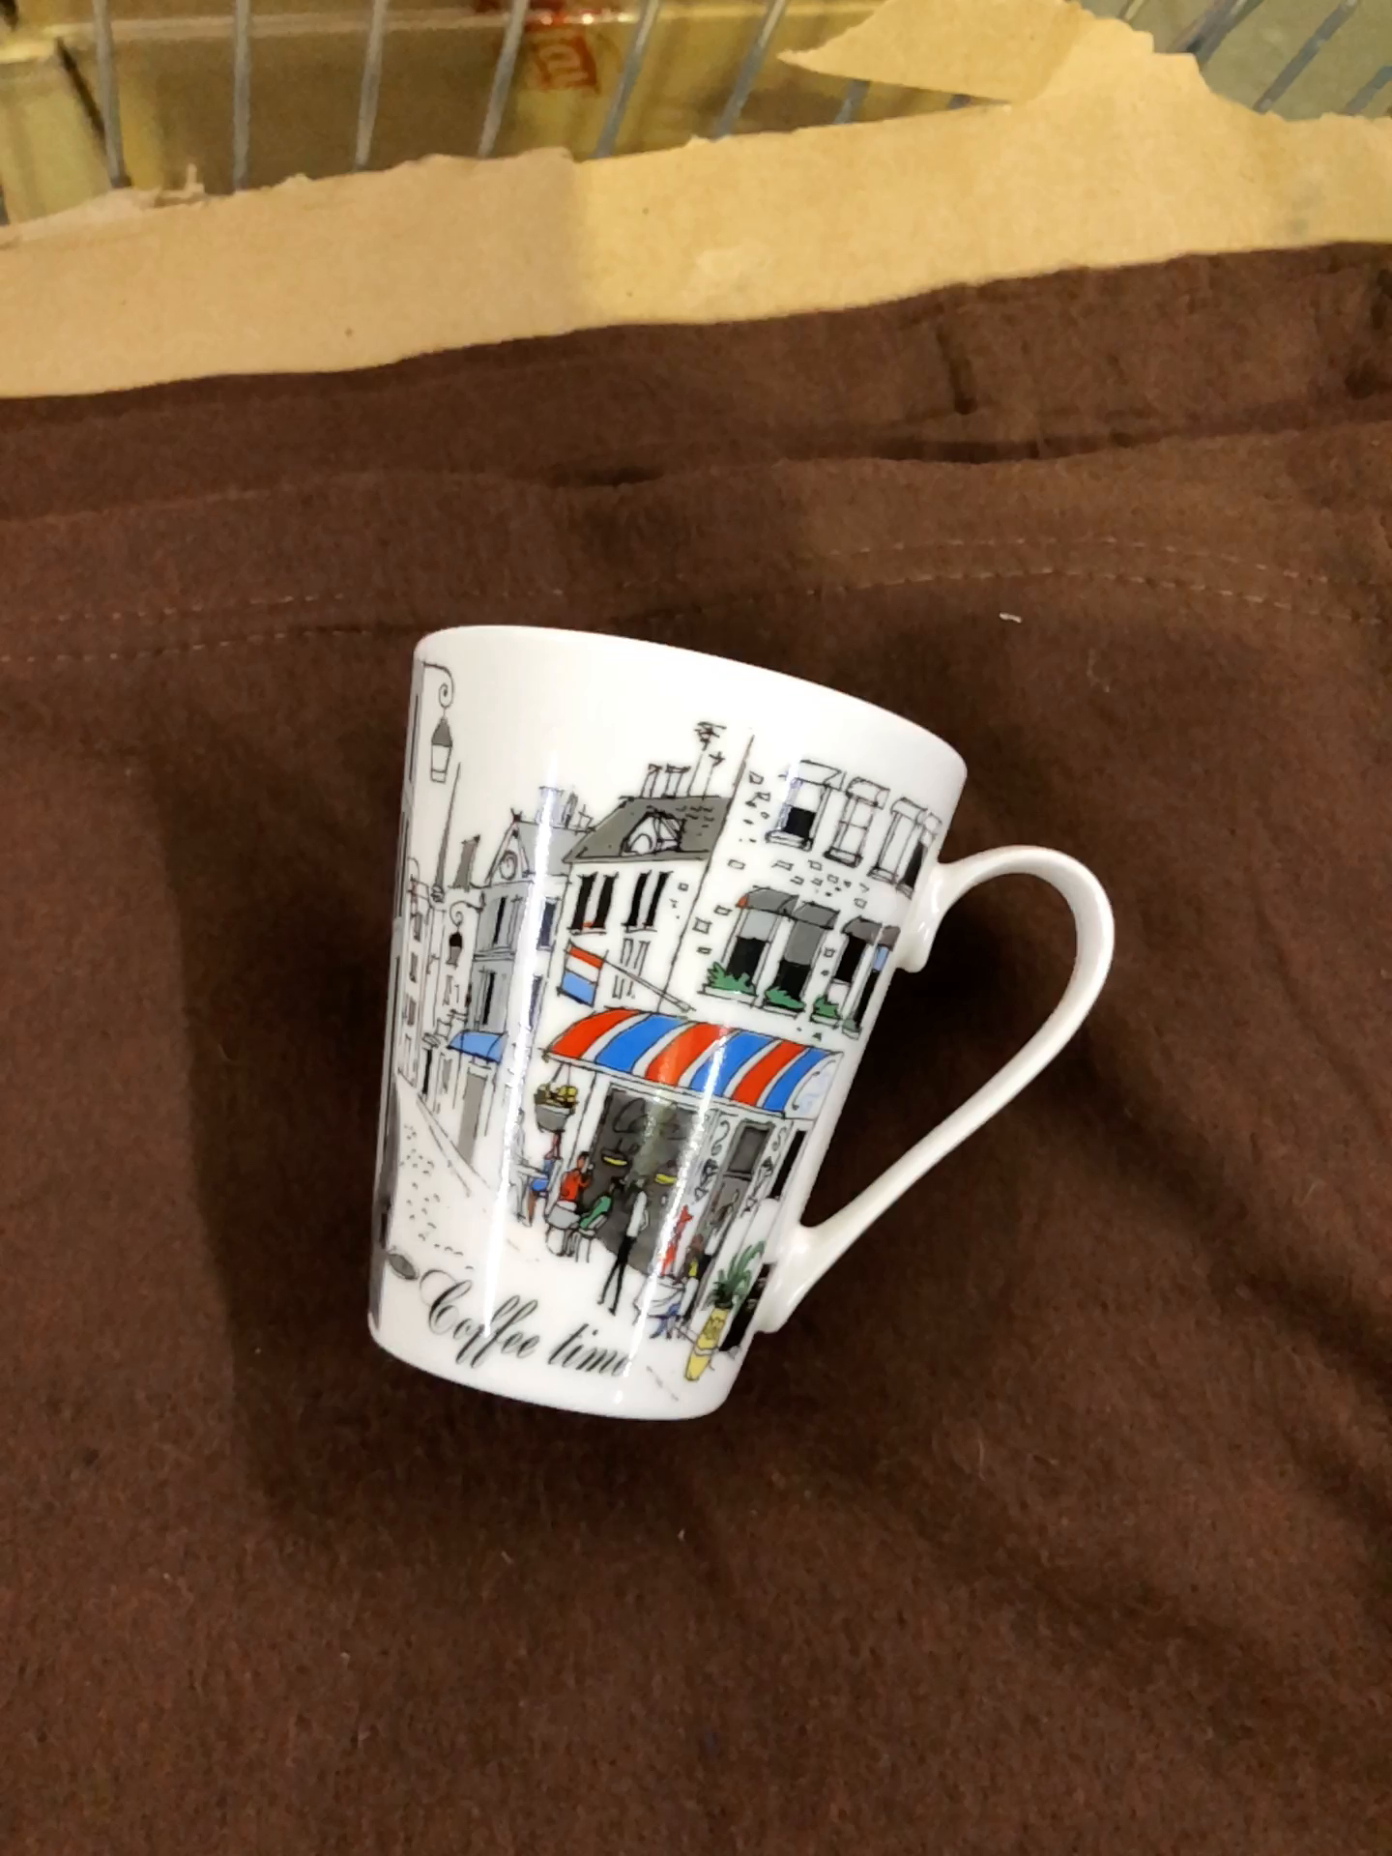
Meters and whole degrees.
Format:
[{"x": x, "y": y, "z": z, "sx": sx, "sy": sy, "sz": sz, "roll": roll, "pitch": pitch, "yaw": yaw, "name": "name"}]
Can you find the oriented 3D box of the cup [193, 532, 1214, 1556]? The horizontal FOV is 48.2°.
[{"x": 0.003, "y": 0.016, "z": 0.239, "sx": 0.110, "sy": 0.080, "sz": 0.110, "roll": 0, "pitch": 84, "yaw": 0, "name": "cup"}]
